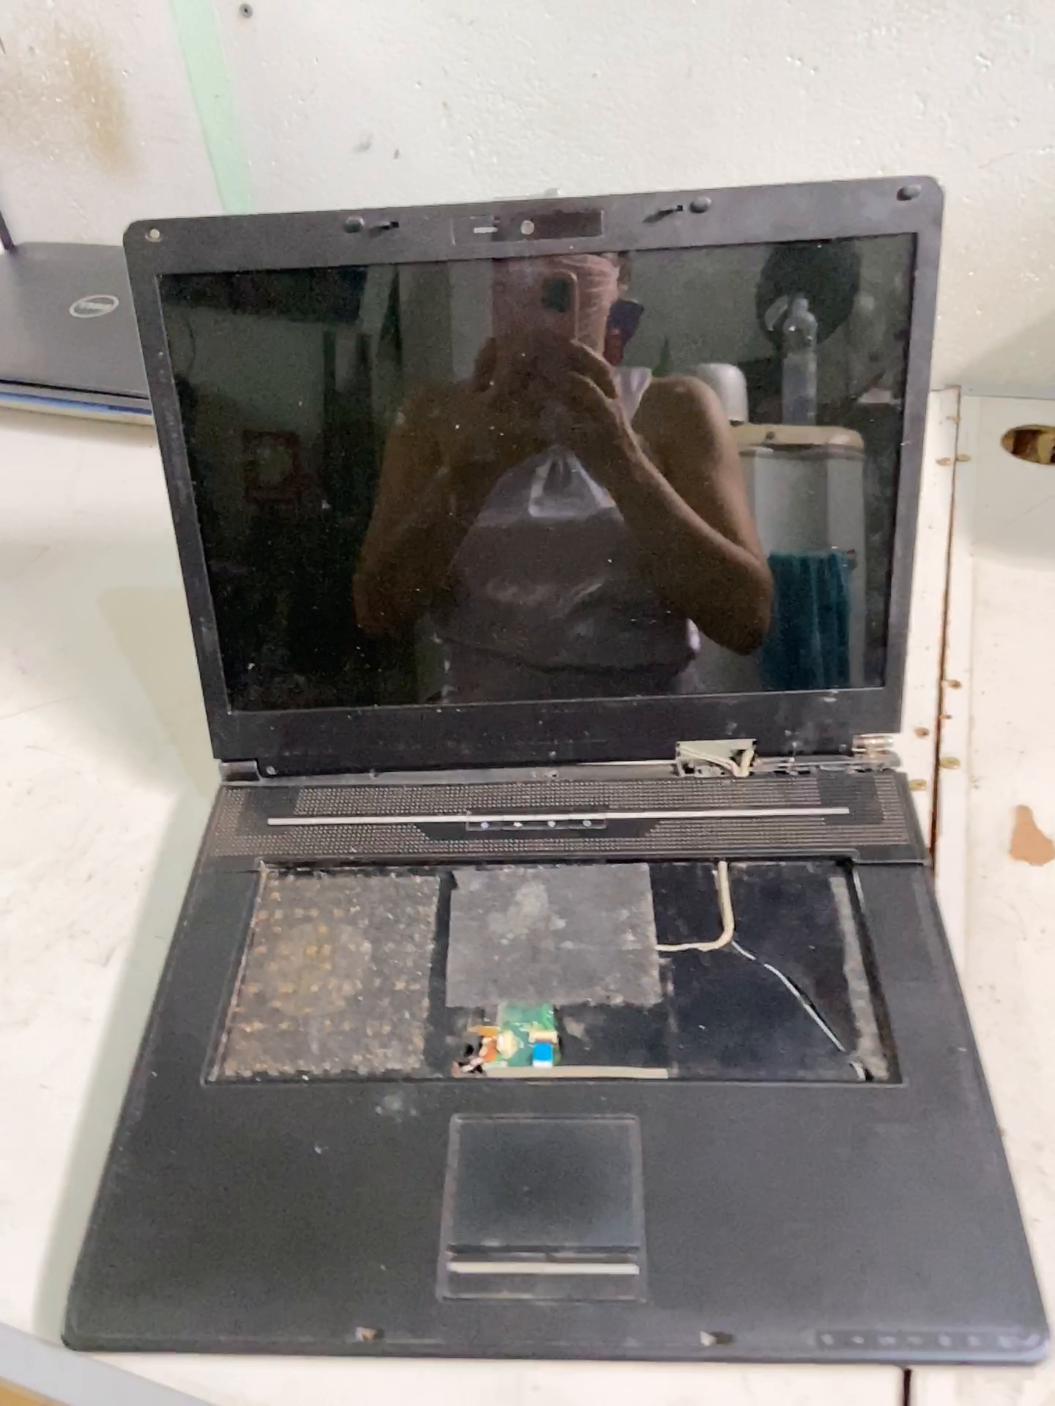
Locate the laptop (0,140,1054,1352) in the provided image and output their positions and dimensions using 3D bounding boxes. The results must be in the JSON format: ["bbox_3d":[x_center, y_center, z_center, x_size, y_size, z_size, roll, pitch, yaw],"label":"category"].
[{"bbox_3d":[0.004,-0.003,0.420,0.344,0.235,0.381,-2,46,5],"label":"laptop"}]
